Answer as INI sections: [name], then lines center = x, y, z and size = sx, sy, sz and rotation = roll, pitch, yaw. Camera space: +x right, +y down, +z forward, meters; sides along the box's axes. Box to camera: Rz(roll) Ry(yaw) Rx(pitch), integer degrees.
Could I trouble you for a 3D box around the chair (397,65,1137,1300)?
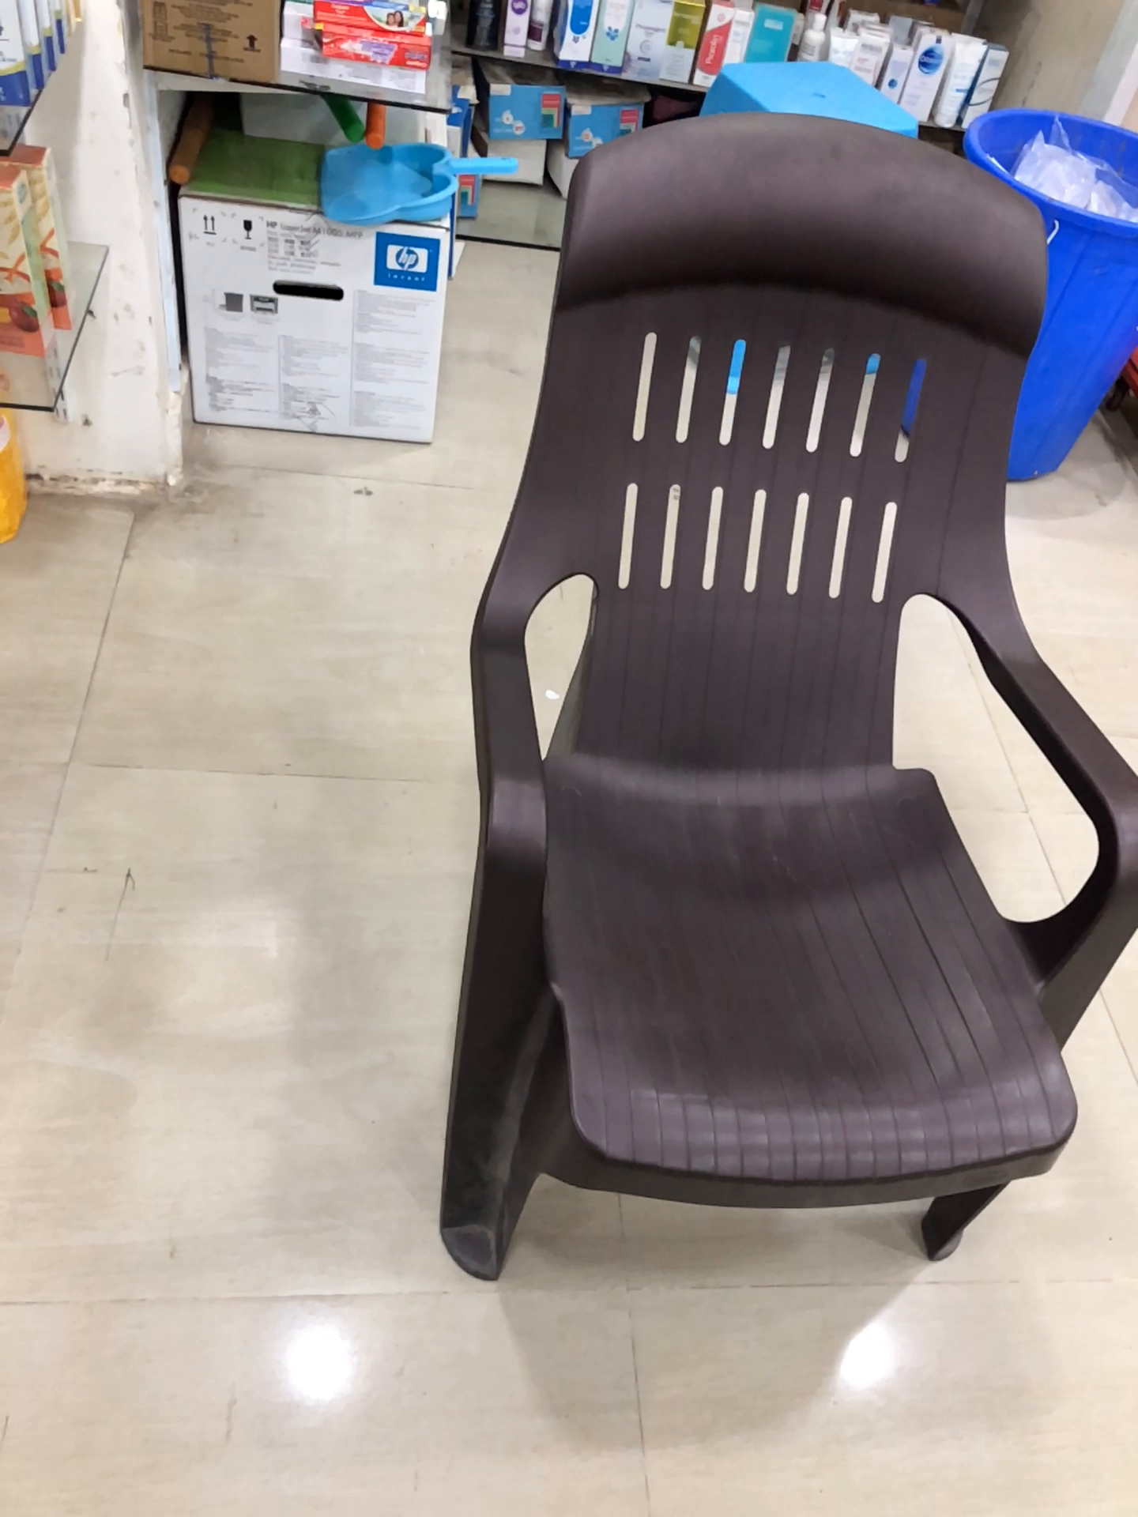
[chair]
center = 0.184, -0.019, 1.153
size = 0.631, 0.844, 0.684
rotation = 2, 47, -11
